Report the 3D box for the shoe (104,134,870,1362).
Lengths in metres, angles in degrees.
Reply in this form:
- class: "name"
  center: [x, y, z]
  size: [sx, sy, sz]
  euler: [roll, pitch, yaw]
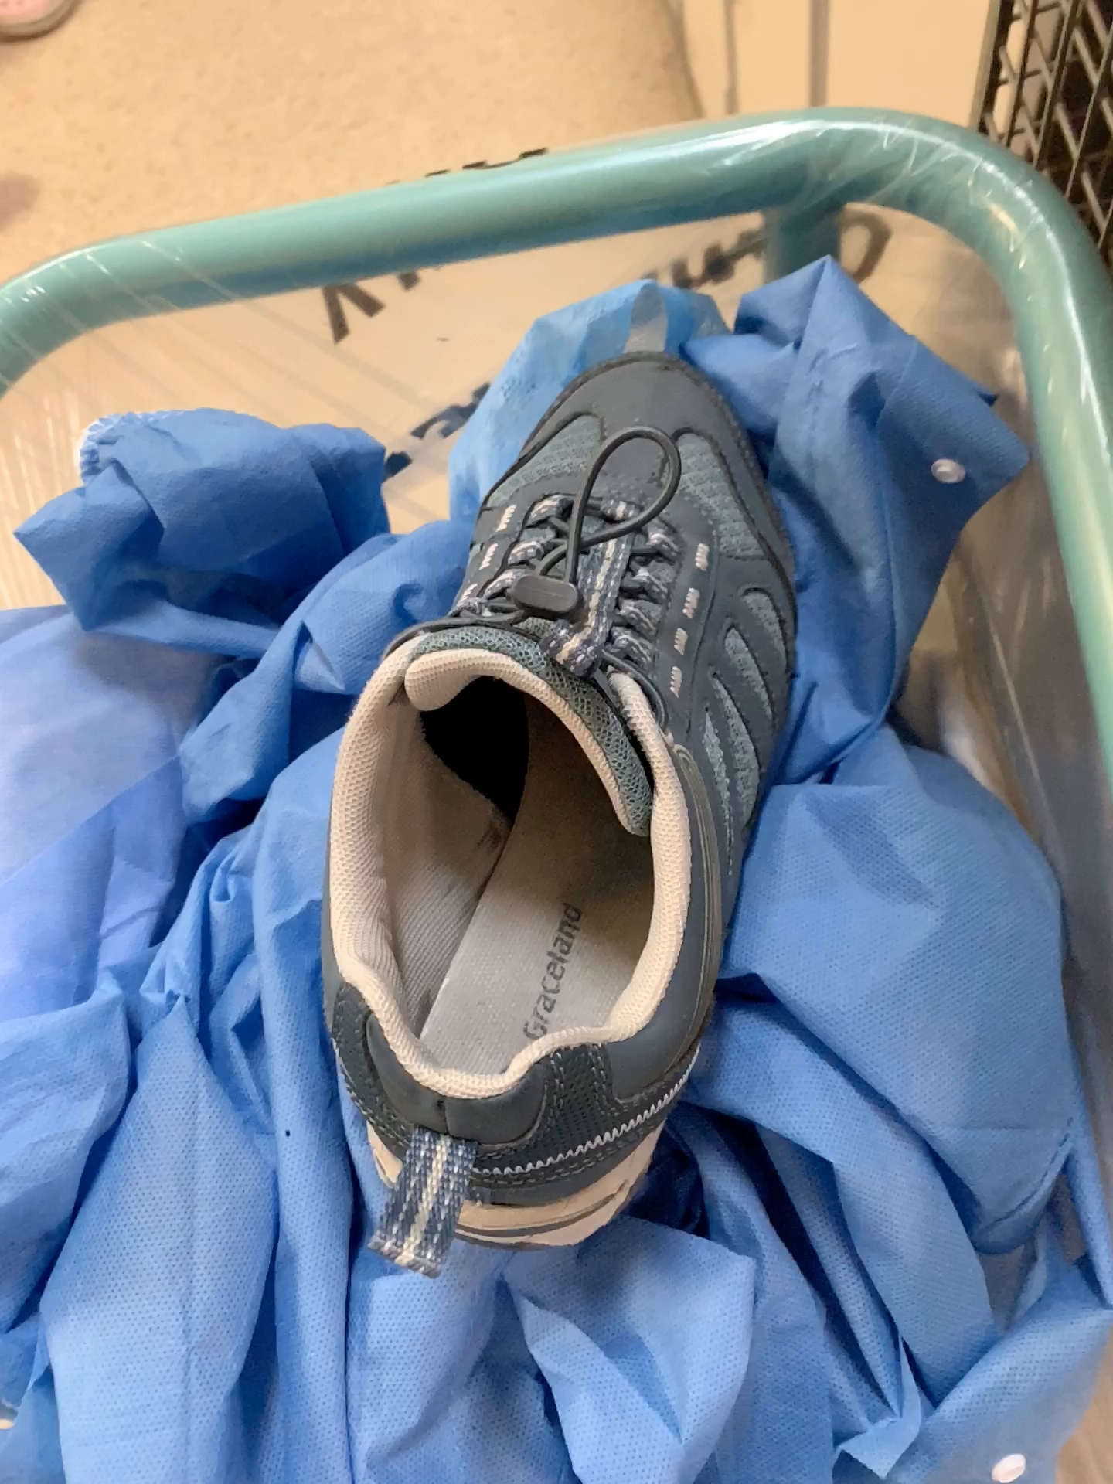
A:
- class: "shoe"
  center: [0.003, -0.006, 0.277]
  size: [0.101, 0.109, 0.241]
  euler: [9, 74, 14]
